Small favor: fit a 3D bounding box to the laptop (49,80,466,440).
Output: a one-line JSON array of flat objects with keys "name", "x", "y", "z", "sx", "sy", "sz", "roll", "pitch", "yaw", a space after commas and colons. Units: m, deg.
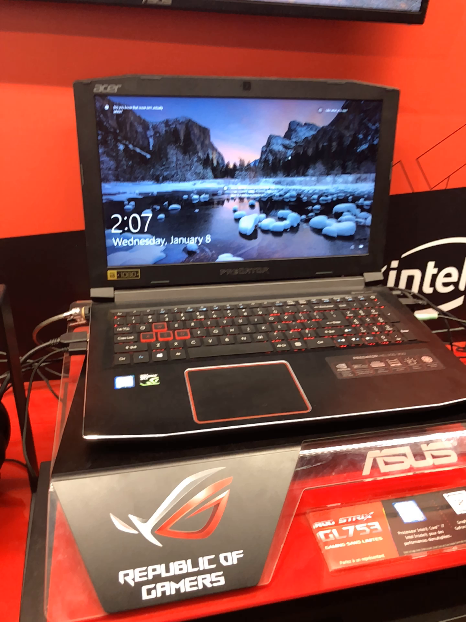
[{"name": "laptop", "x": 0.041, "y": -0.087, "z": 0.530, "sx": 0.385, "sy": 0.240, "sz": 0.295, "roll": -3, "pitch": 29, "yaw": -11}]
